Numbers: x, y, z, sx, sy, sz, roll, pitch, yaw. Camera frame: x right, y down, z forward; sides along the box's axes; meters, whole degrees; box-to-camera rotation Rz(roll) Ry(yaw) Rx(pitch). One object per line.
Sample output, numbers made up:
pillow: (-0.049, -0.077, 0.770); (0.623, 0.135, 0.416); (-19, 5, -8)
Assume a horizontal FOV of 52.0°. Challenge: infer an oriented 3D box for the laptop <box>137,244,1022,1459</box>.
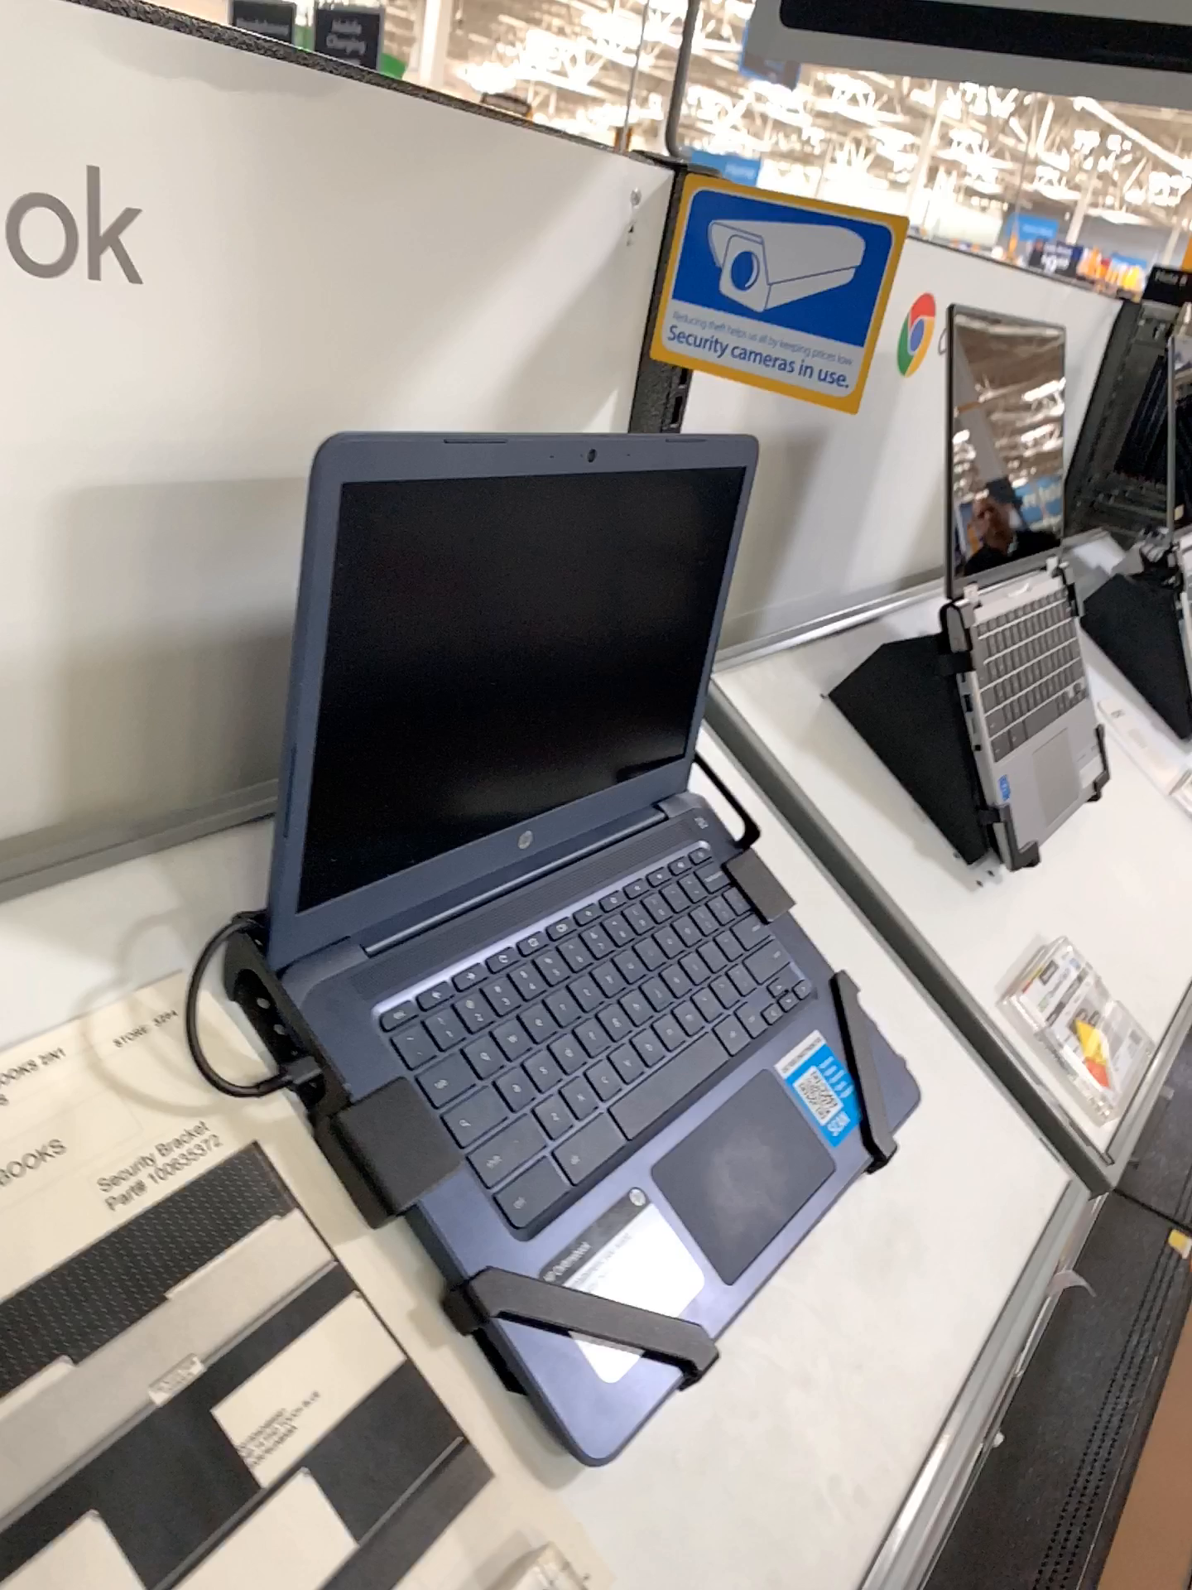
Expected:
laptop: (0.010, -0.016, 0.564); (0.322, 0.189, 0.318); (46, 35, 17)
